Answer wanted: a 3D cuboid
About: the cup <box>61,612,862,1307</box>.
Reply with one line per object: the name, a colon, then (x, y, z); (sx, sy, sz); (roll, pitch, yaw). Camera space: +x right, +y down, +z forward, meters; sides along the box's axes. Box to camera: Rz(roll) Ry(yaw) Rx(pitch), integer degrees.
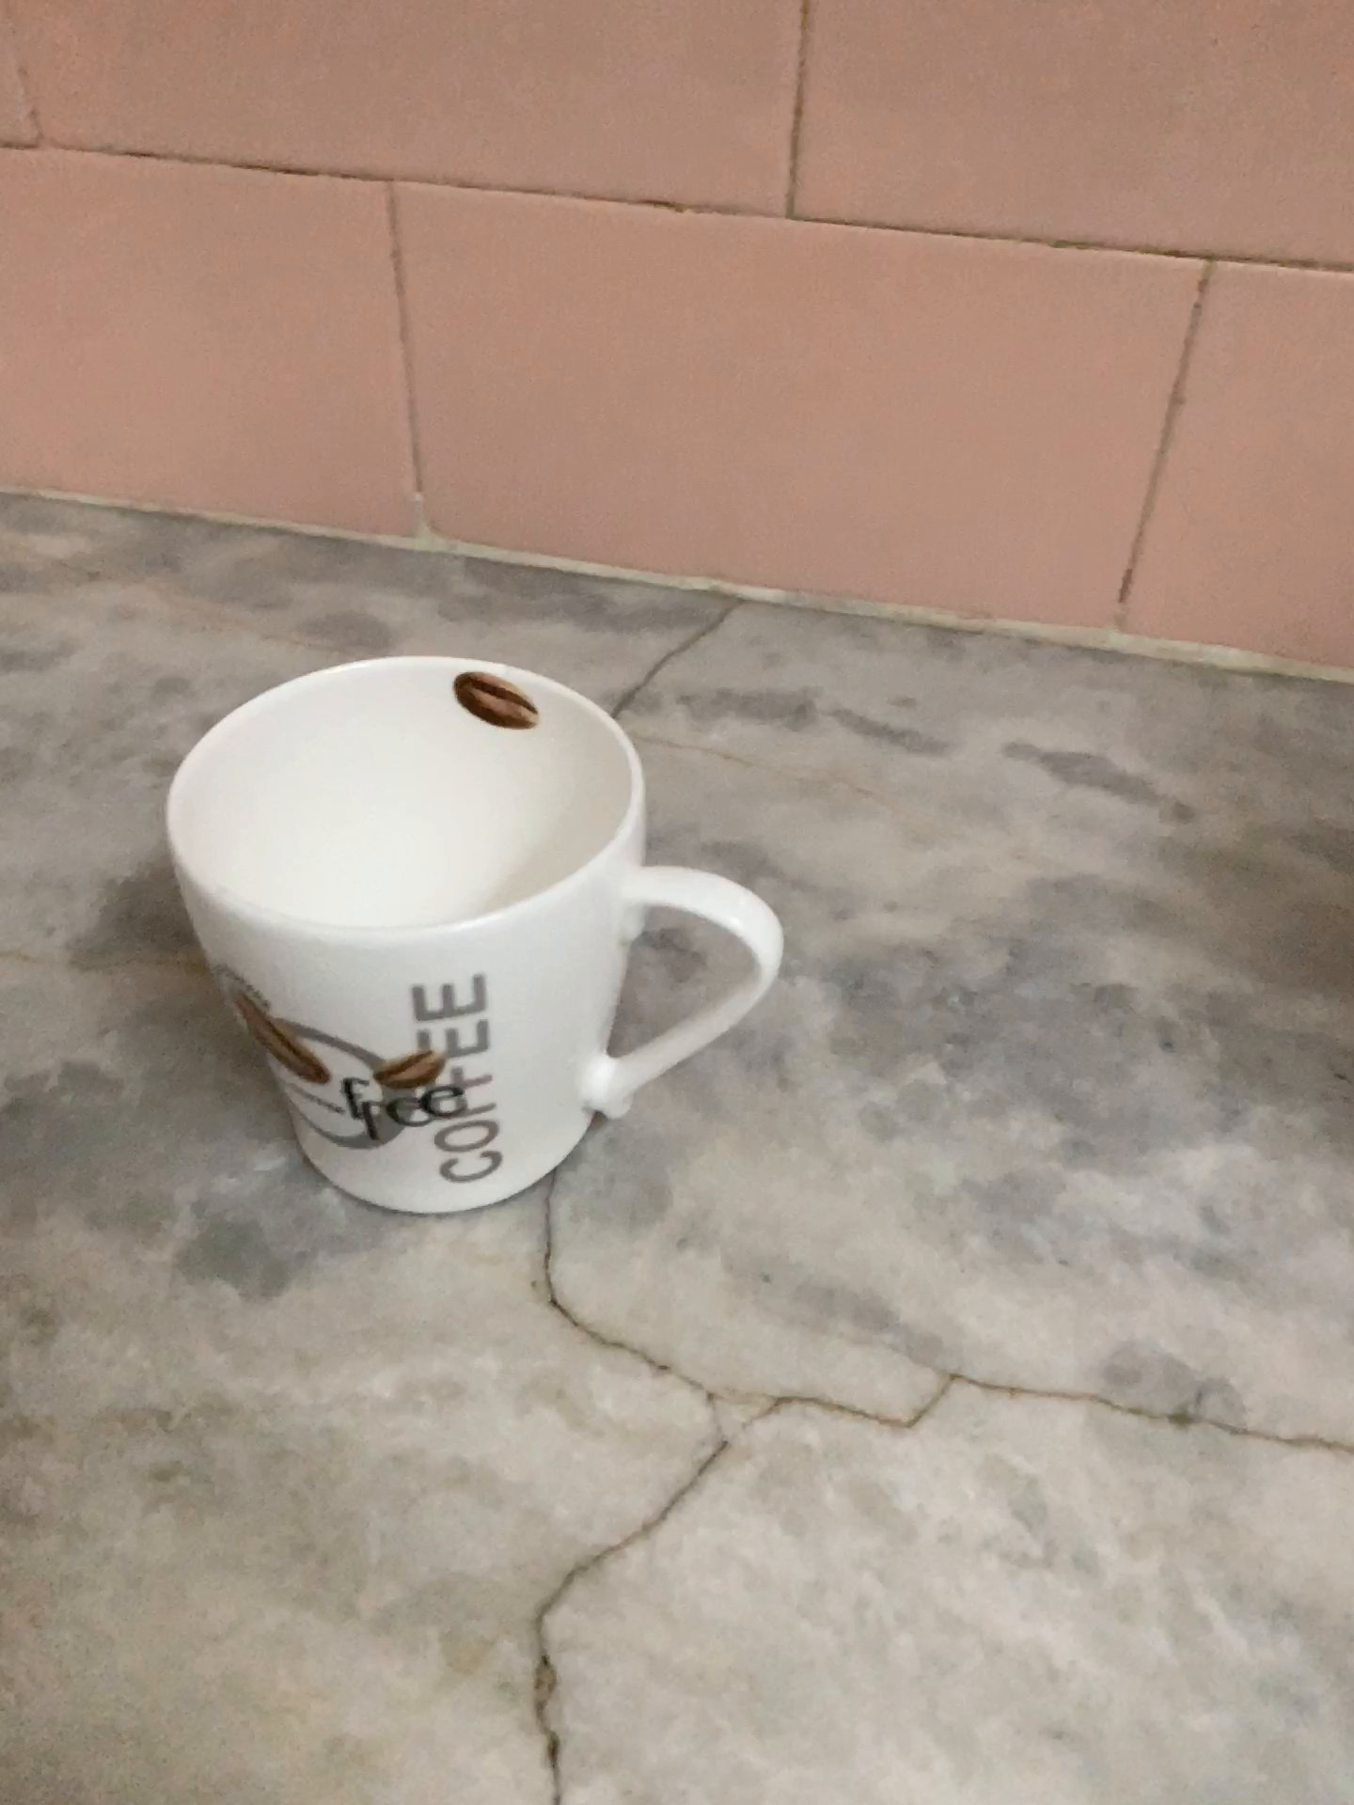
cup: (-0.027, 0.007, 0.230); (0.100, 0.070, 0.070); (9, 42, 8)
